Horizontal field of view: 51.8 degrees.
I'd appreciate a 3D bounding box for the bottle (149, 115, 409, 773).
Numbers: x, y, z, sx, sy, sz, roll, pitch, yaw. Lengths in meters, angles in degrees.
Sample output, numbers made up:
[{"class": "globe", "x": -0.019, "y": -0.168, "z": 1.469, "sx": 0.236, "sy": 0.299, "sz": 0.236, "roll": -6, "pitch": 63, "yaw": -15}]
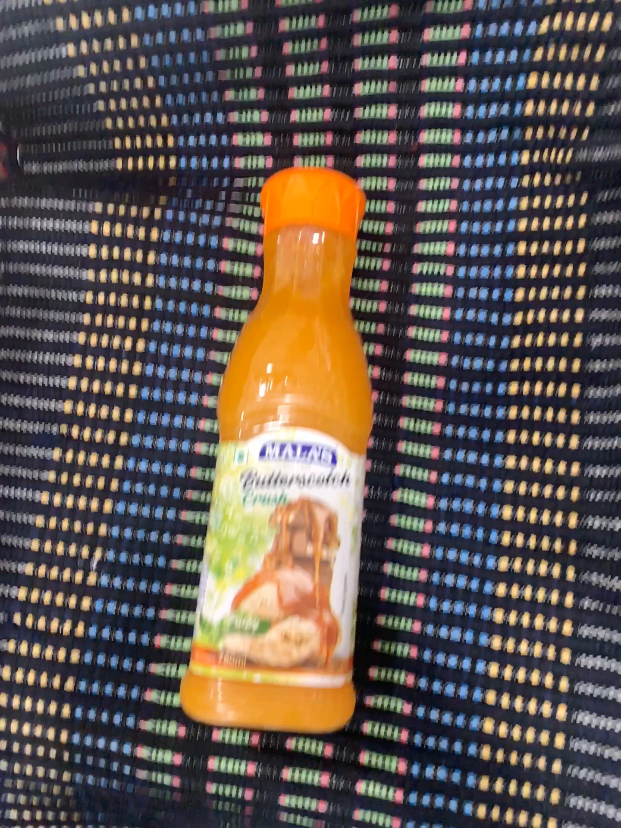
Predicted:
[{"class": "bottle", "x": -0.005, "y": 0.000, "z": 0.268, "sx": 0.070, "sy": 0.060, "sz": 0.250, "roll": 6, "pitch": 71, "yaw": 0}]
